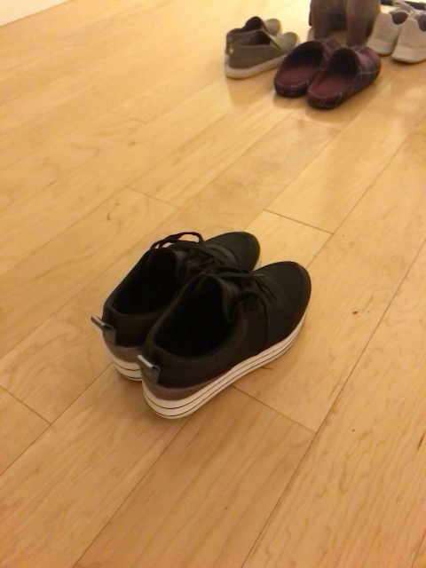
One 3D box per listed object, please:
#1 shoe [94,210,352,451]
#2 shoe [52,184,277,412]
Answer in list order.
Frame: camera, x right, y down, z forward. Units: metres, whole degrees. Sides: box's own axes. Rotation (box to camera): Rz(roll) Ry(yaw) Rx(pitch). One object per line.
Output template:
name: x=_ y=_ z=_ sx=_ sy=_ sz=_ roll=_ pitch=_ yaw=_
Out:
shoe: x=0.023 y=0.047 z=0.568 sx=0.291 sy=0.139 sz=0.100 roll=-31 pitch=51 yaw=-24
shoe: x=-0.045 y=0.007 z=0.611 sx=0.100 sy=0.139 sz=0.281 roll=32 pitch=55 yaw=30
